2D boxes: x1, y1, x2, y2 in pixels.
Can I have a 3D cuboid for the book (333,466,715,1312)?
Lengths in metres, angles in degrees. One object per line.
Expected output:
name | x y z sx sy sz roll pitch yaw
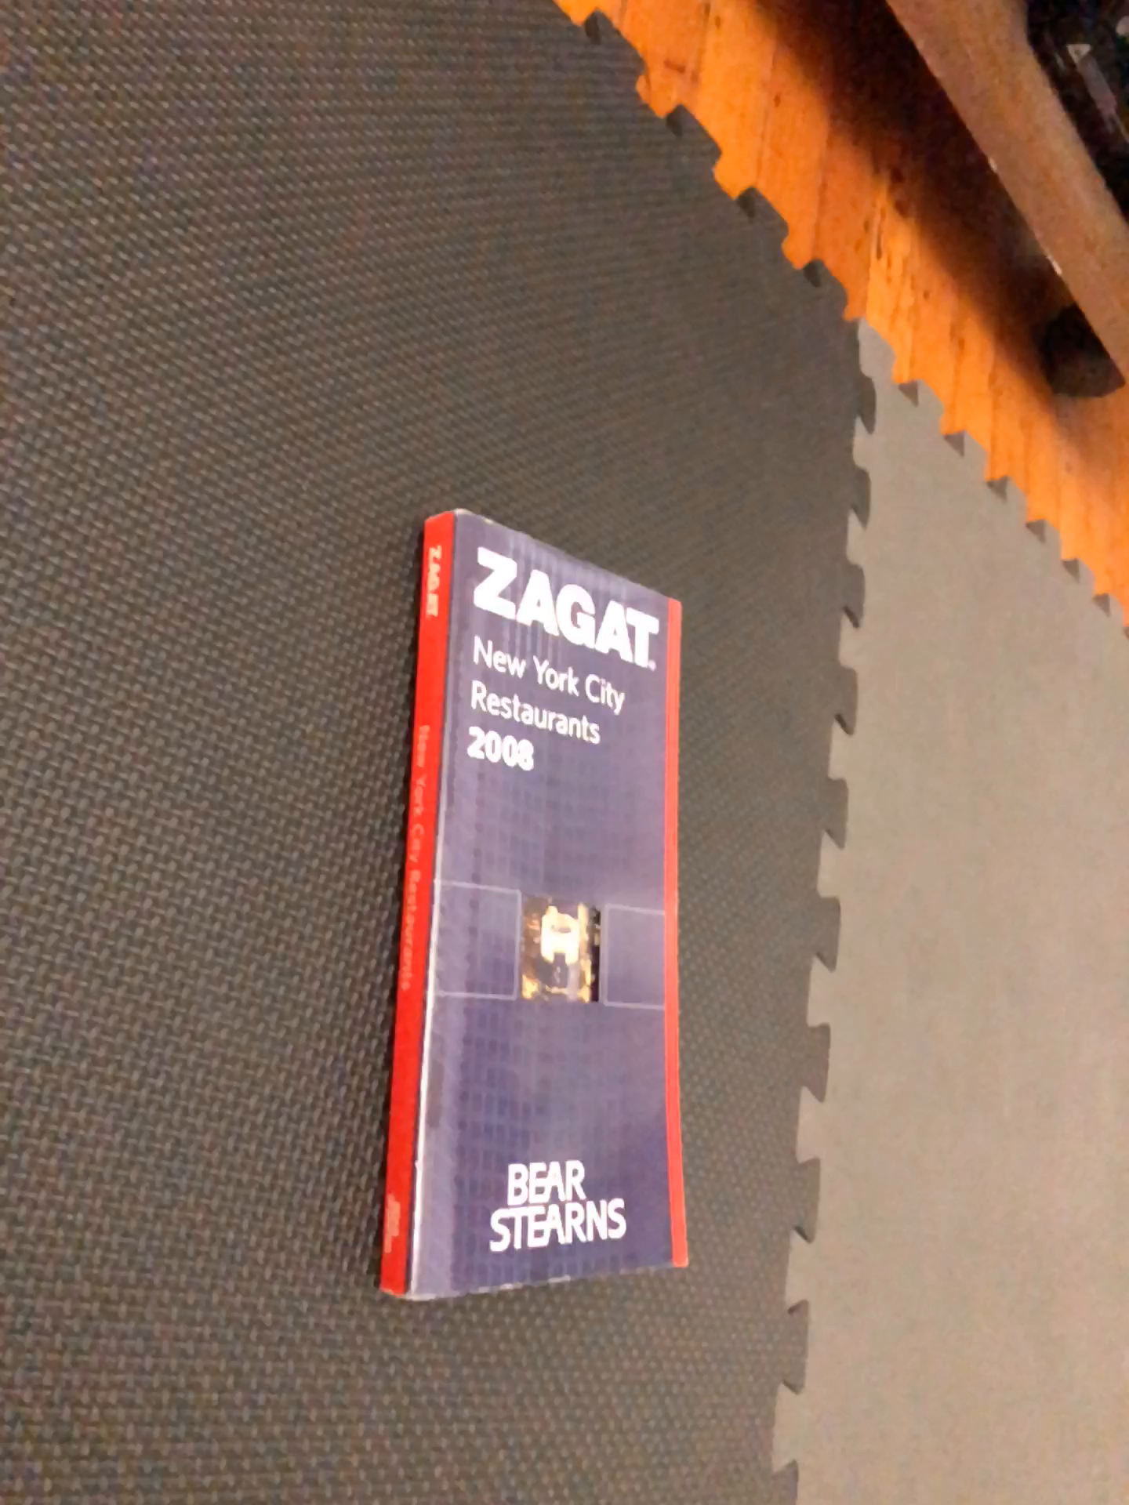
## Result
book | -0.004 0.040 0.379 0.121 0.030 0.220 15 73 -46
